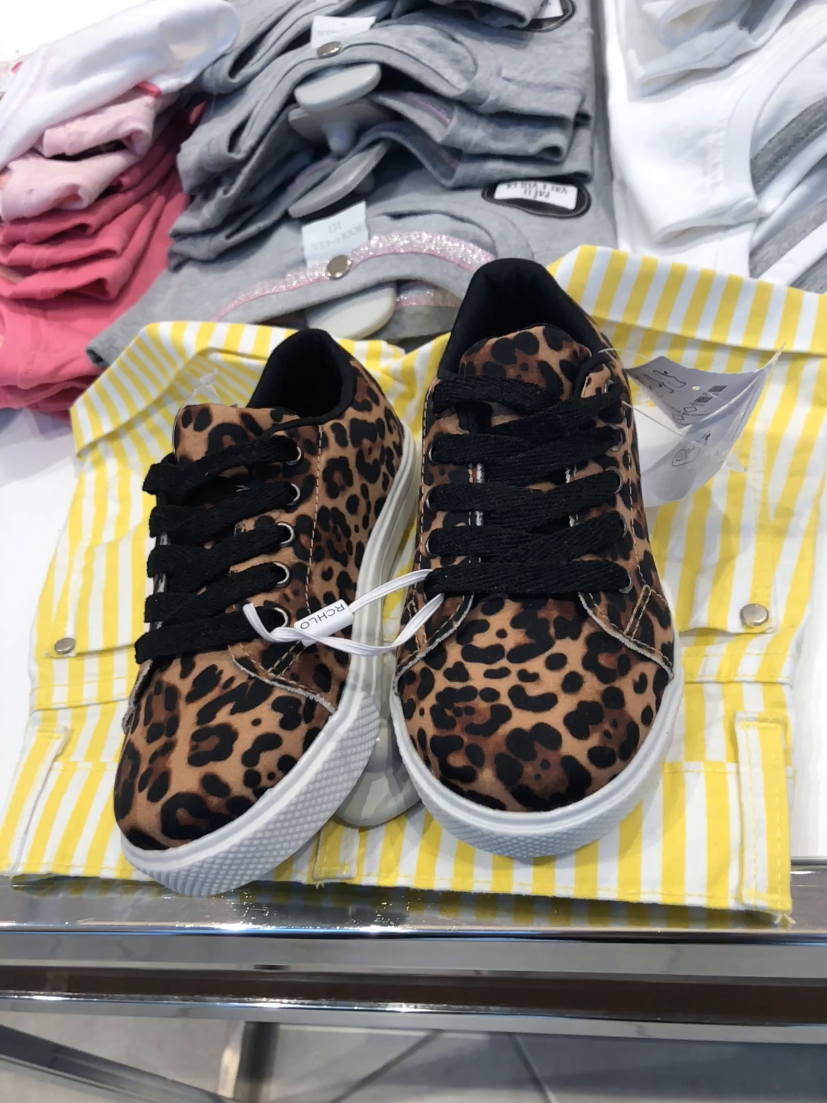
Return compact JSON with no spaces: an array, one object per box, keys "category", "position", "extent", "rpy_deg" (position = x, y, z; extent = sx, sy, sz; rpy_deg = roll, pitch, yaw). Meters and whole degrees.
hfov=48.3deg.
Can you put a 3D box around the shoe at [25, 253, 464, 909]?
[{"category":"shoe","position":[-0.040,0.007,0.273],"extent":[0.080,0.060,0.171],"rpy_deg":[-22,48,36]}]

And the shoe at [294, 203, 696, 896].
[{"category":"shoe","position":[0.033,-0.004,0.259],"extent":[0.080,0.080,0.171],"rpy_deg":[-2,57,15]}]
